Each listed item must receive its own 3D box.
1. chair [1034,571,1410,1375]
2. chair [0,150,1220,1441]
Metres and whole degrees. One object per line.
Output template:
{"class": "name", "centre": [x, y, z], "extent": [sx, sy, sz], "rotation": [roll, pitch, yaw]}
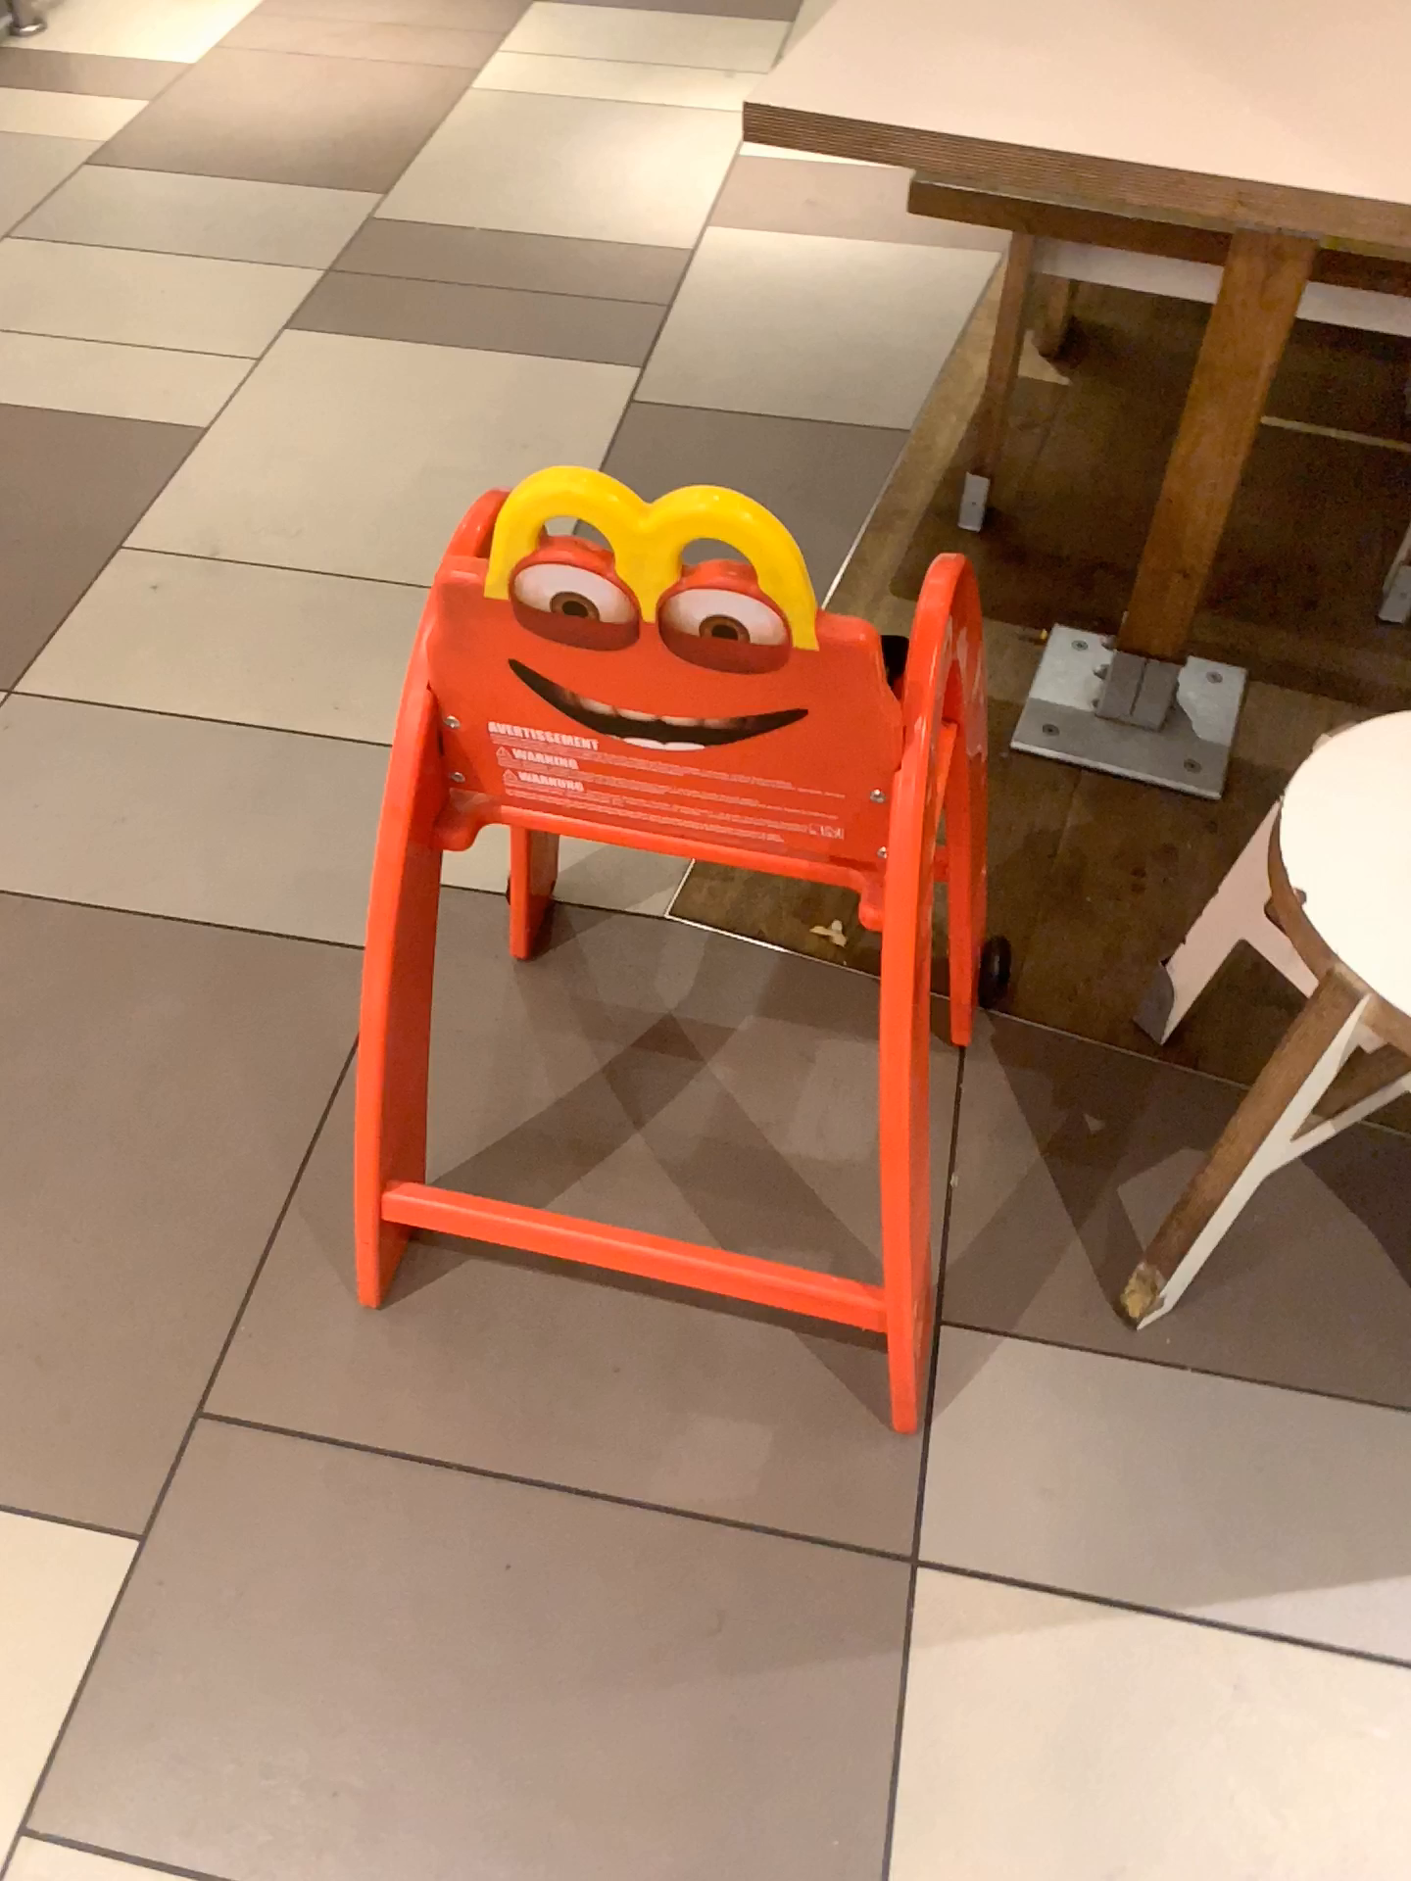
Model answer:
{"class": "chair", "centre": [0.465, 0.035, 1.094], "extent": [0.320, 0.446, 0.373], "rotation": [9, 51, 7]}
{"class": "chair", "centre": [-0.016, -0.093, 1.061], "extent": [0.580, 0.654, 0.585], "rotation": [9, 51, 7]}
